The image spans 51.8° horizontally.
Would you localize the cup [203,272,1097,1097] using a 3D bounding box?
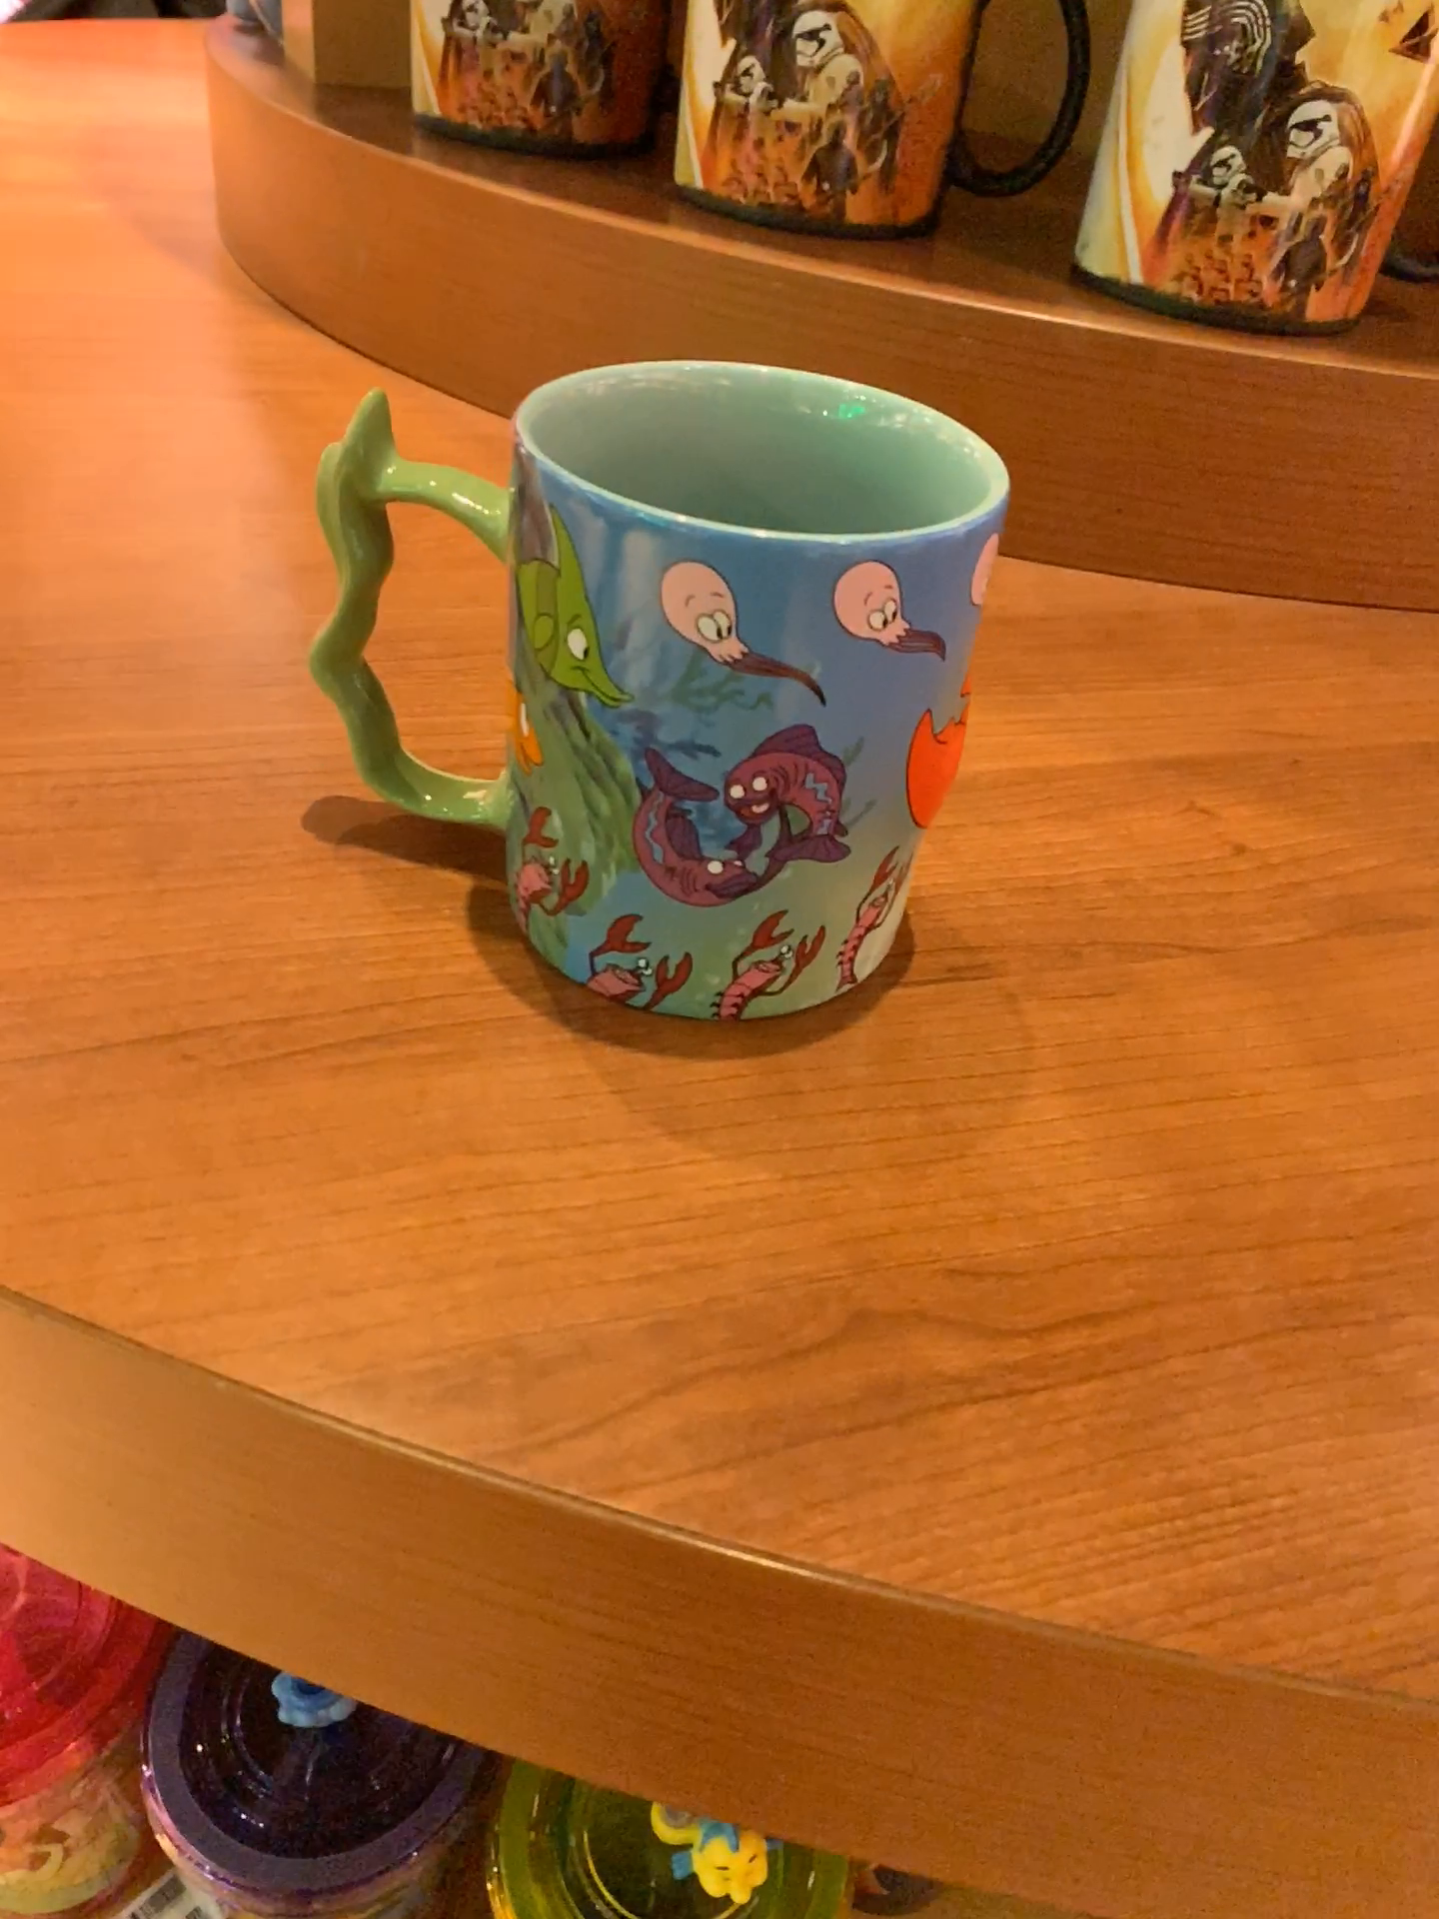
[{"bbox_3d":[-0.013,-0.061,0.296,0.134,0.101,0.091,20,39,15],"label":"cup"}]
